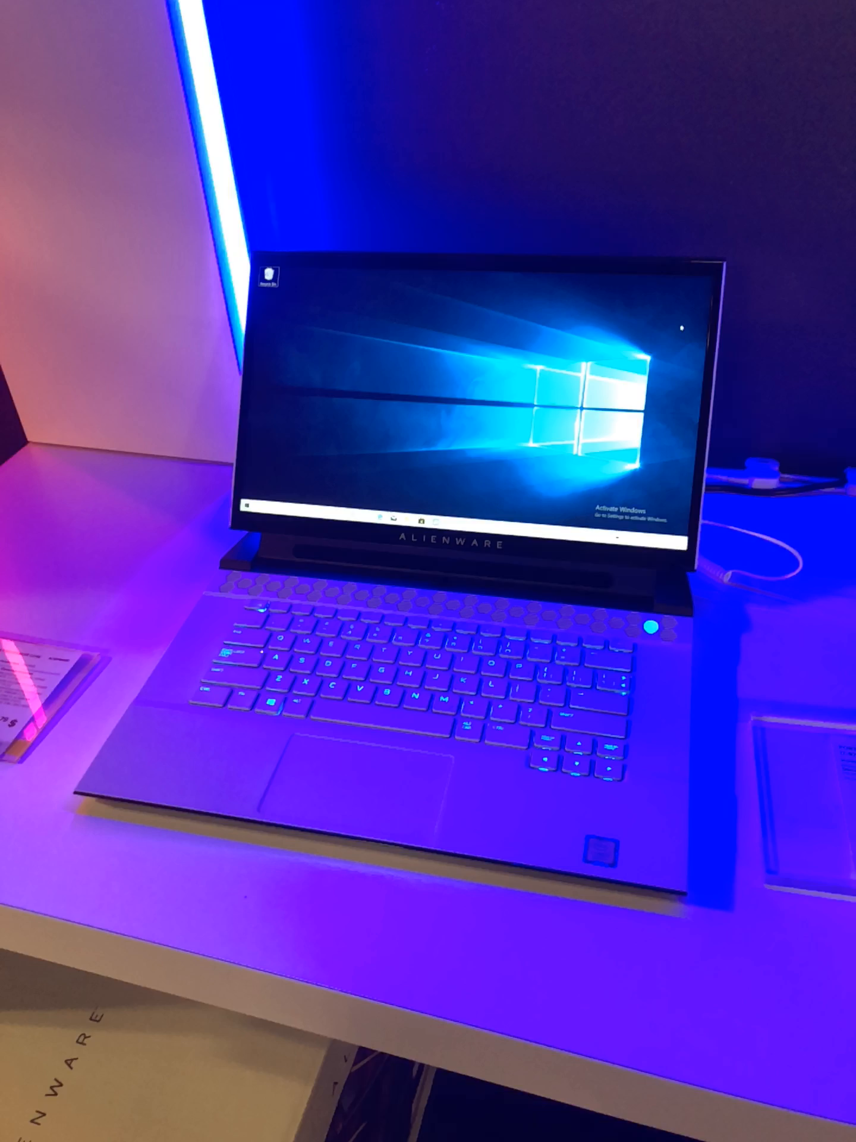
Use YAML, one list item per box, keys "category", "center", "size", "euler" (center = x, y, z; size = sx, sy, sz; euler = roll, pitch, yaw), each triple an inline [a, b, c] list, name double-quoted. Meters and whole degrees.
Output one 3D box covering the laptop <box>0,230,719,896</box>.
- category: "laptop"
  center: [-0.004, -0.050, 0.619]
  size: [0.356, 0.194, 0.381]
  euler: [6, 41, 14]
